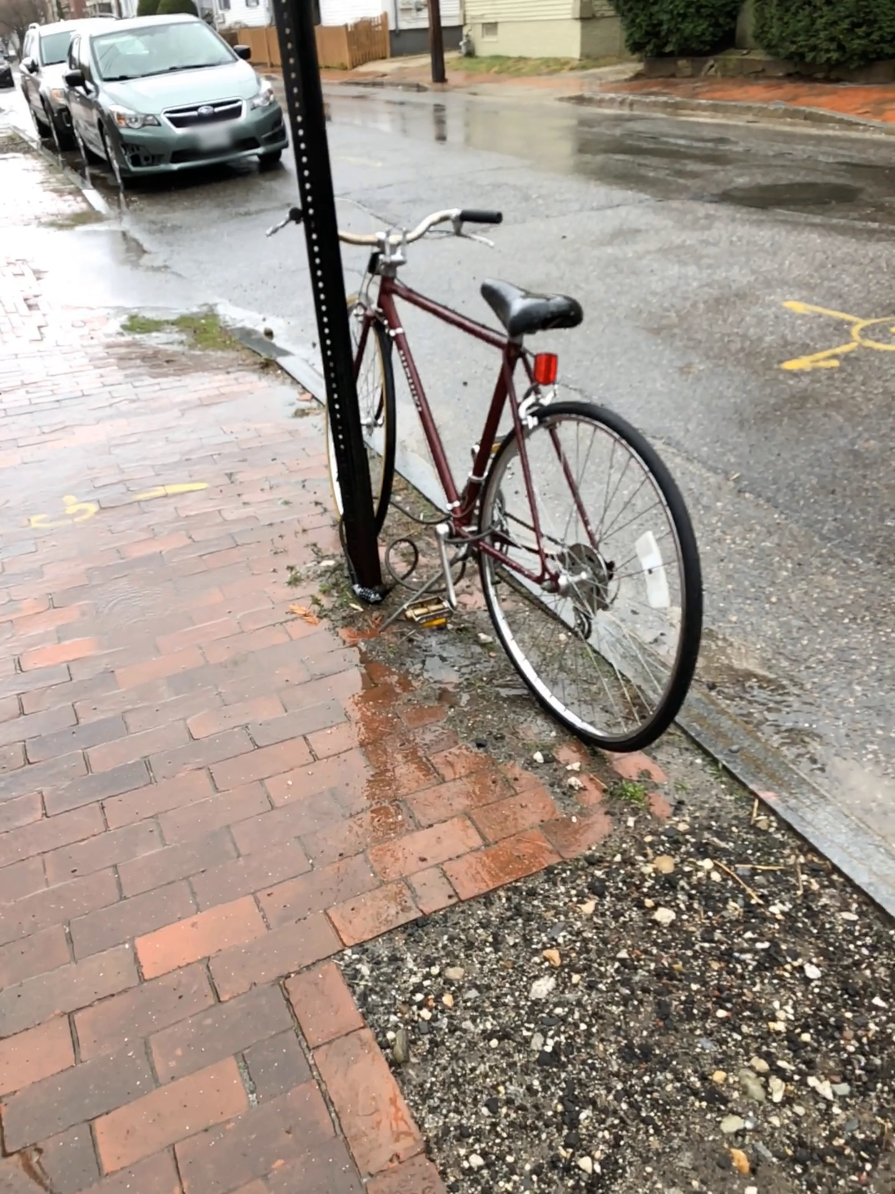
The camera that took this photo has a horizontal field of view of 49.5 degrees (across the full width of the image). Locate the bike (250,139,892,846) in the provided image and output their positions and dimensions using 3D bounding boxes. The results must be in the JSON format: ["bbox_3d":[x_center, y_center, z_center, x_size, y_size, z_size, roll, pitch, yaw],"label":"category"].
[{"bbox_3d":[0.096,-0.412,2.167,0.500,0.907,1.613,-16,34,-21],"label":"bike"}]
